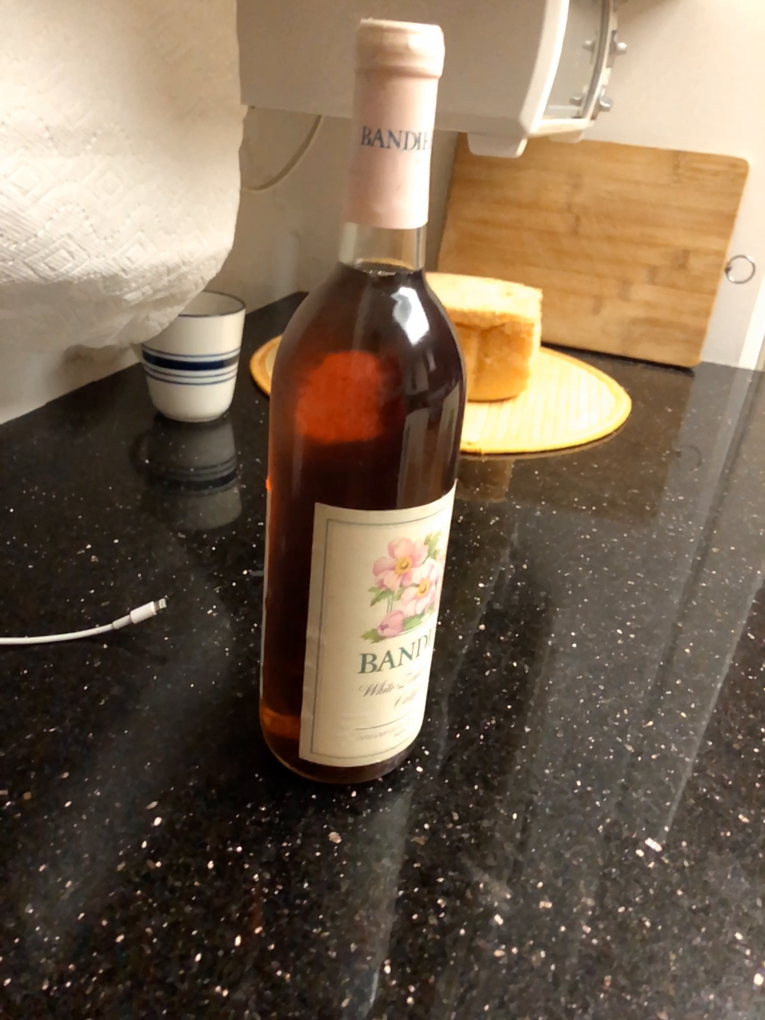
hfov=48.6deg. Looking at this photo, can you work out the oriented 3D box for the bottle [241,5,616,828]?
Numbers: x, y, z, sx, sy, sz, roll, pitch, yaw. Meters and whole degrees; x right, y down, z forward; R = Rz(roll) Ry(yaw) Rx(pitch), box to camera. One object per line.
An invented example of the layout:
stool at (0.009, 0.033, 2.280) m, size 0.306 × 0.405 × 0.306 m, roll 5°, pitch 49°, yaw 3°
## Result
bottle at (0.006, -0.025, 0.323) m, size 0.080 × 0.278 × 0.080 m, roll 5°, pitch 26°, yaw -2°
